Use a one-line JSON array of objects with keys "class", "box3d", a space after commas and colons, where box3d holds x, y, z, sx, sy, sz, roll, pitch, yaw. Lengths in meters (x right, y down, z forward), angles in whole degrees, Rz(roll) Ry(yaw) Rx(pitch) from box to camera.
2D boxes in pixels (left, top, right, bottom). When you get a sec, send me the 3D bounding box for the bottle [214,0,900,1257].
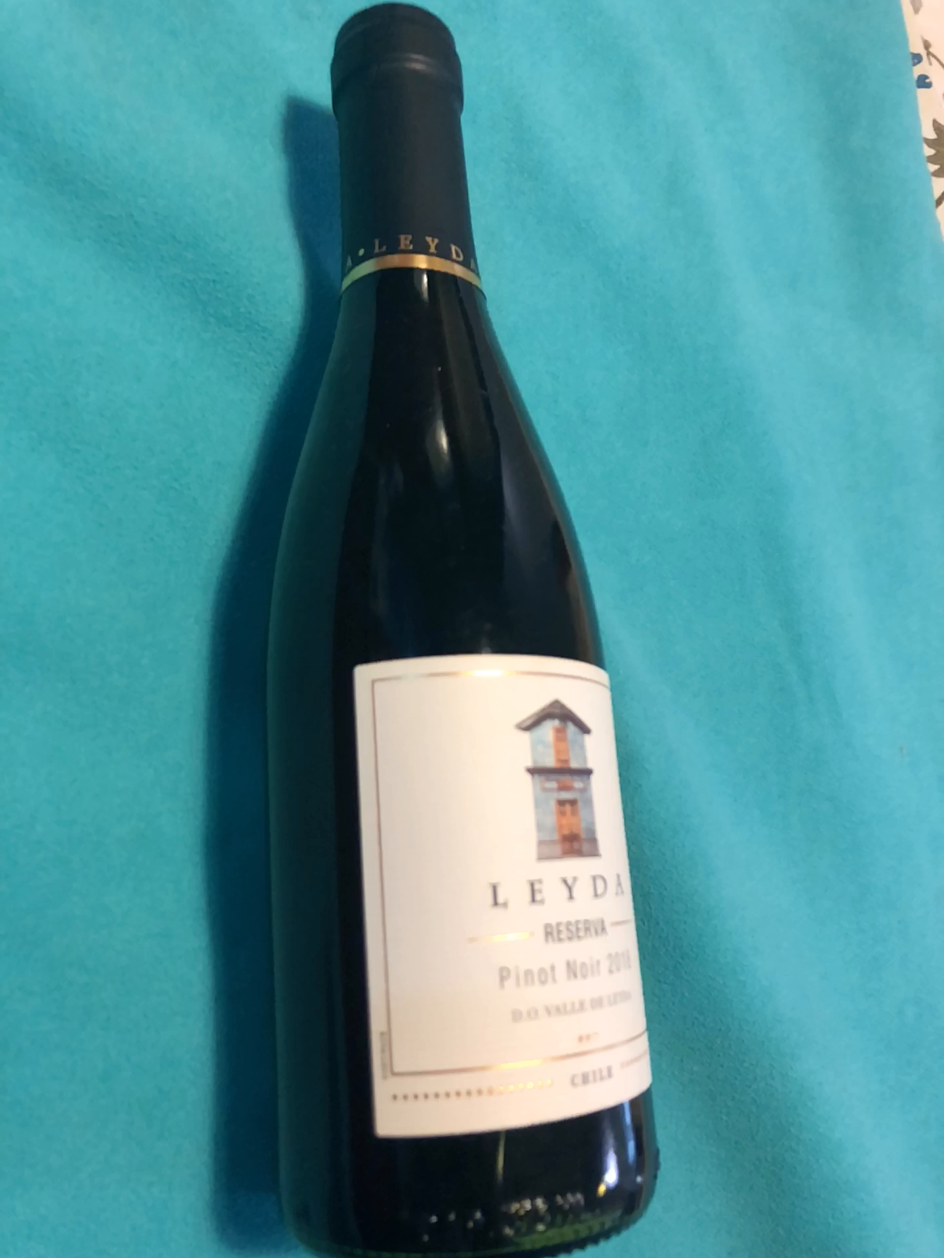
[{"class": "bottle", "box3d": [0.011, -0.036, 0.191, 0.070, 0.080, 0.260, 10, 73, -30]}]
